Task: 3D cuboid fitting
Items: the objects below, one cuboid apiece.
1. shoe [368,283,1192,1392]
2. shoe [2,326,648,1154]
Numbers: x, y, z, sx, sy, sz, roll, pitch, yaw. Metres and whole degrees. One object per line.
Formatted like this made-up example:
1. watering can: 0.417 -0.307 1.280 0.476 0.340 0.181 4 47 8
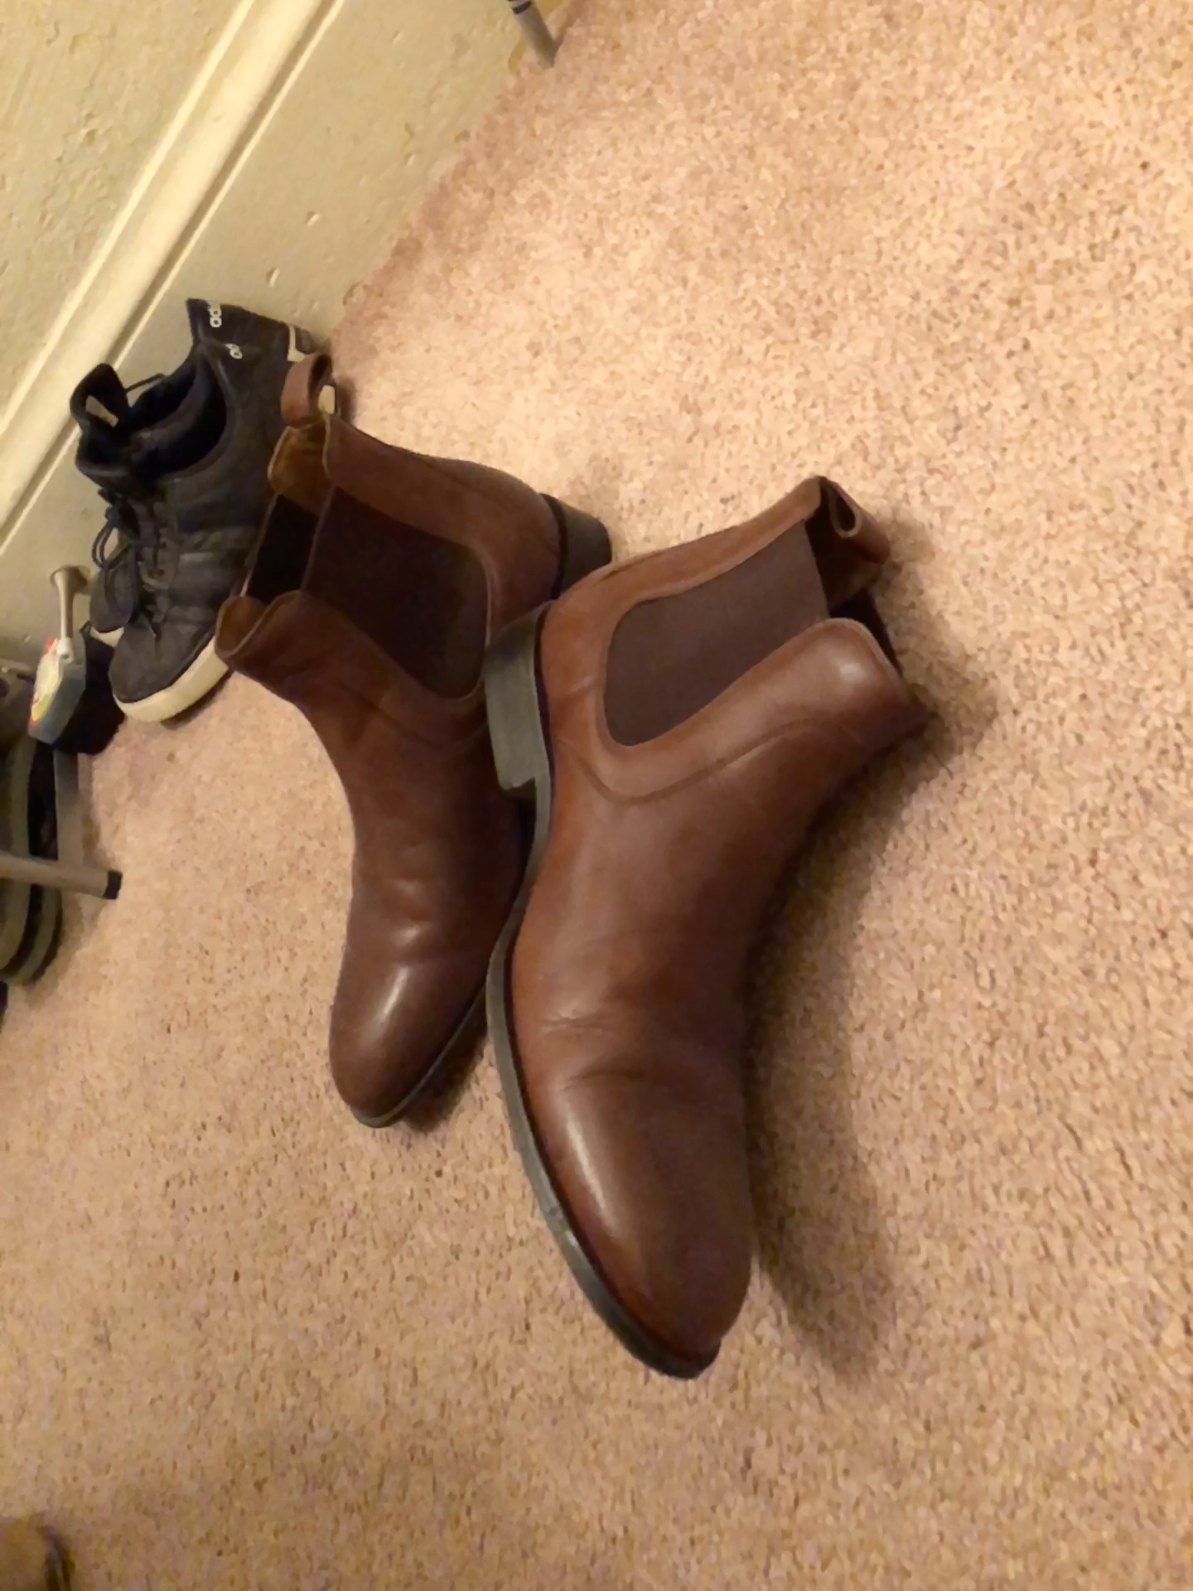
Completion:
1. shoe: 0.040 0.012 0.428 0.169 0.118 0.297 -38 49 31
2. shoe: -0.112 -0.017 0.563 0.110 0.158 0.296 11 82 50
